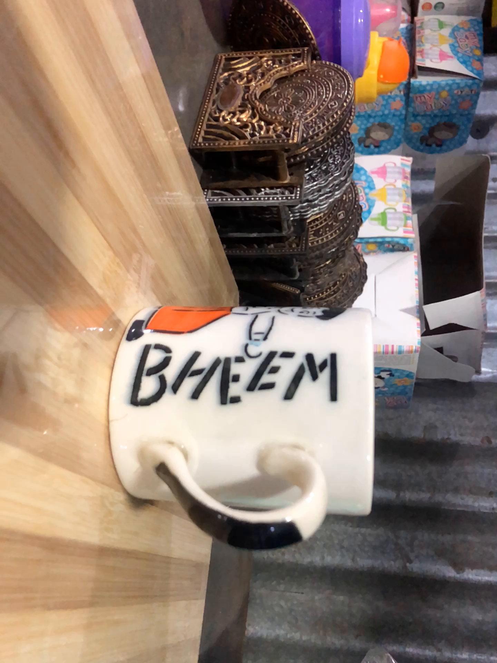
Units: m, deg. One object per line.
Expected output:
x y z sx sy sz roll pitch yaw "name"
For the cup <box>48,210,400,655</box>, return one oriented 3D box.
0.005 0.022 0.199 0.120 0.080 0.100 -71 160 -60 "cup"
